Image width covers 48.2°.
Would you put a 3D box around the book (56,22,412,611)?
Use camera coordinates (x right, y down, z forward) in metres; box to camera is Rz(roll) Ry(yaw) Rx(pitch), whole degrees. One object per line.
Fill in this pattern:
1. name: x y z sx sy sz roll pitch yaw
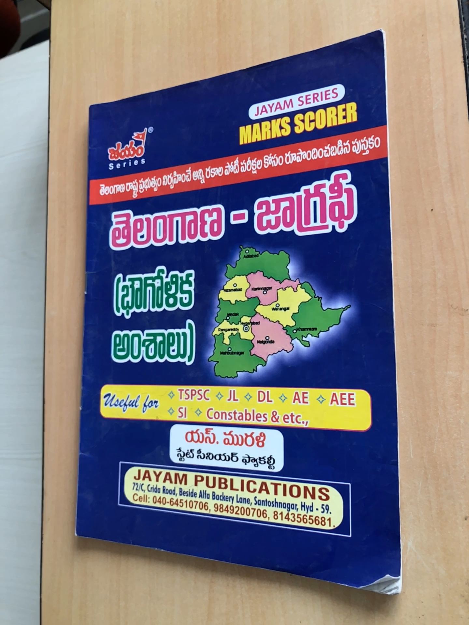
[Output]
1. book: -0.007 -0.001 0.308 0.200 0.040 0.280 -2 83 25
